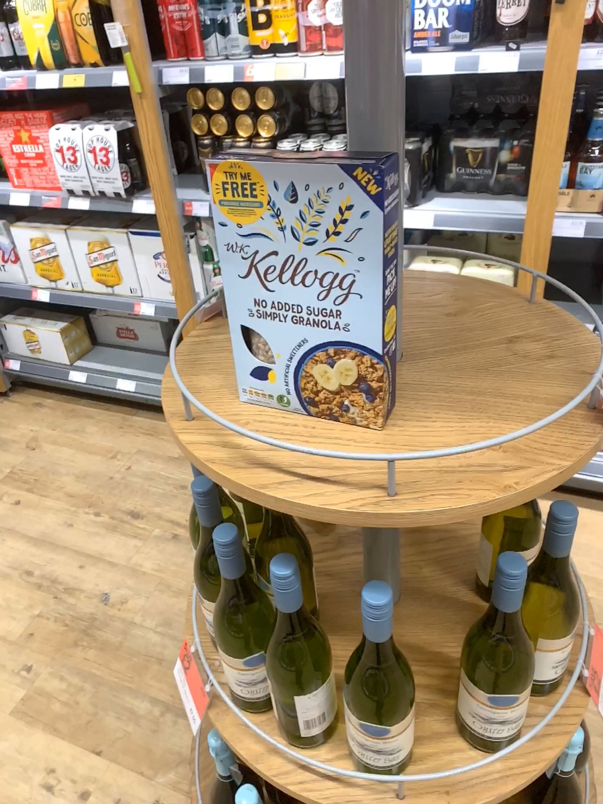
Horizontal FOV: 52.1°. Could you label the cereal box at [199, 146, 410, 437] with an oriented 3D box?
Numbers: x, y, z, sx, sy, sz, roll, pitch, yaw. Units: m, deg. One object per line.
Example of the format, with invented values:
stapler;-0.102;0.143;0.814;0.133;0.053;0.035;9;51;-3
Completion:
cereal box;0.009;-0.100;0.575;0.170;0.248;0.050;12;36;24
